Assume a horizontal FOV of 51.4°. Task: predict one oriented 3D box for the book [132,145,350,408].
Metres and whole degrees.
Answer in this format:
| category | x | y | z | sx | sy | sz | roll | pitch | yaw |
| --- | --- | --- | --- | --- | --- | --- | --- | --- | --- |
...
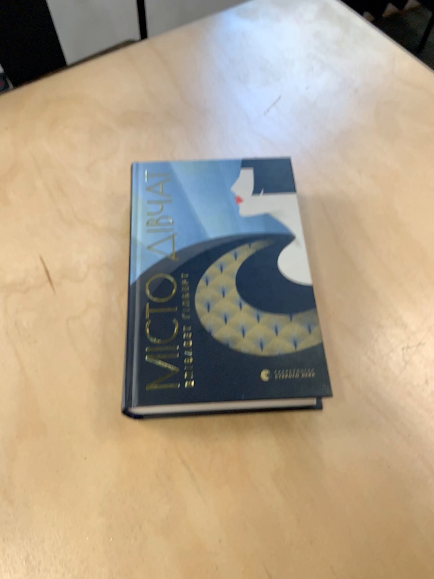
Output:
| category | x | y | z | sx | sy | sz | roll | pitch | yaw |
| --- | --- | --- | --- | --- | --- | --- | --- | --- | --- |
| book | 0.012 | -0.017 | 0.341 | 0.134 | 0.043 | 0.197 | -2 | 64 | -1 |
